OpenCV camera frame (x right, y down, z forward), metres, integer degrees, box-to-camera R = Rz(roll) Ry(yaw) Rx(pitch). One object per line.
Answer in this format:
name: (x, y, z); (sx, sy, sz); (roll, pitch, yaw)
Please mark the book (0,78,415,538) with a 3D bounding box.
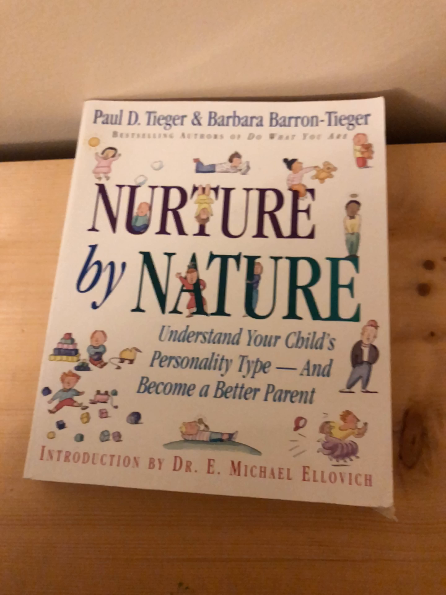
book: (-0.001, -0.009, 0.291); (0.200, 0.040, 0.250); (3, 74, 5)
